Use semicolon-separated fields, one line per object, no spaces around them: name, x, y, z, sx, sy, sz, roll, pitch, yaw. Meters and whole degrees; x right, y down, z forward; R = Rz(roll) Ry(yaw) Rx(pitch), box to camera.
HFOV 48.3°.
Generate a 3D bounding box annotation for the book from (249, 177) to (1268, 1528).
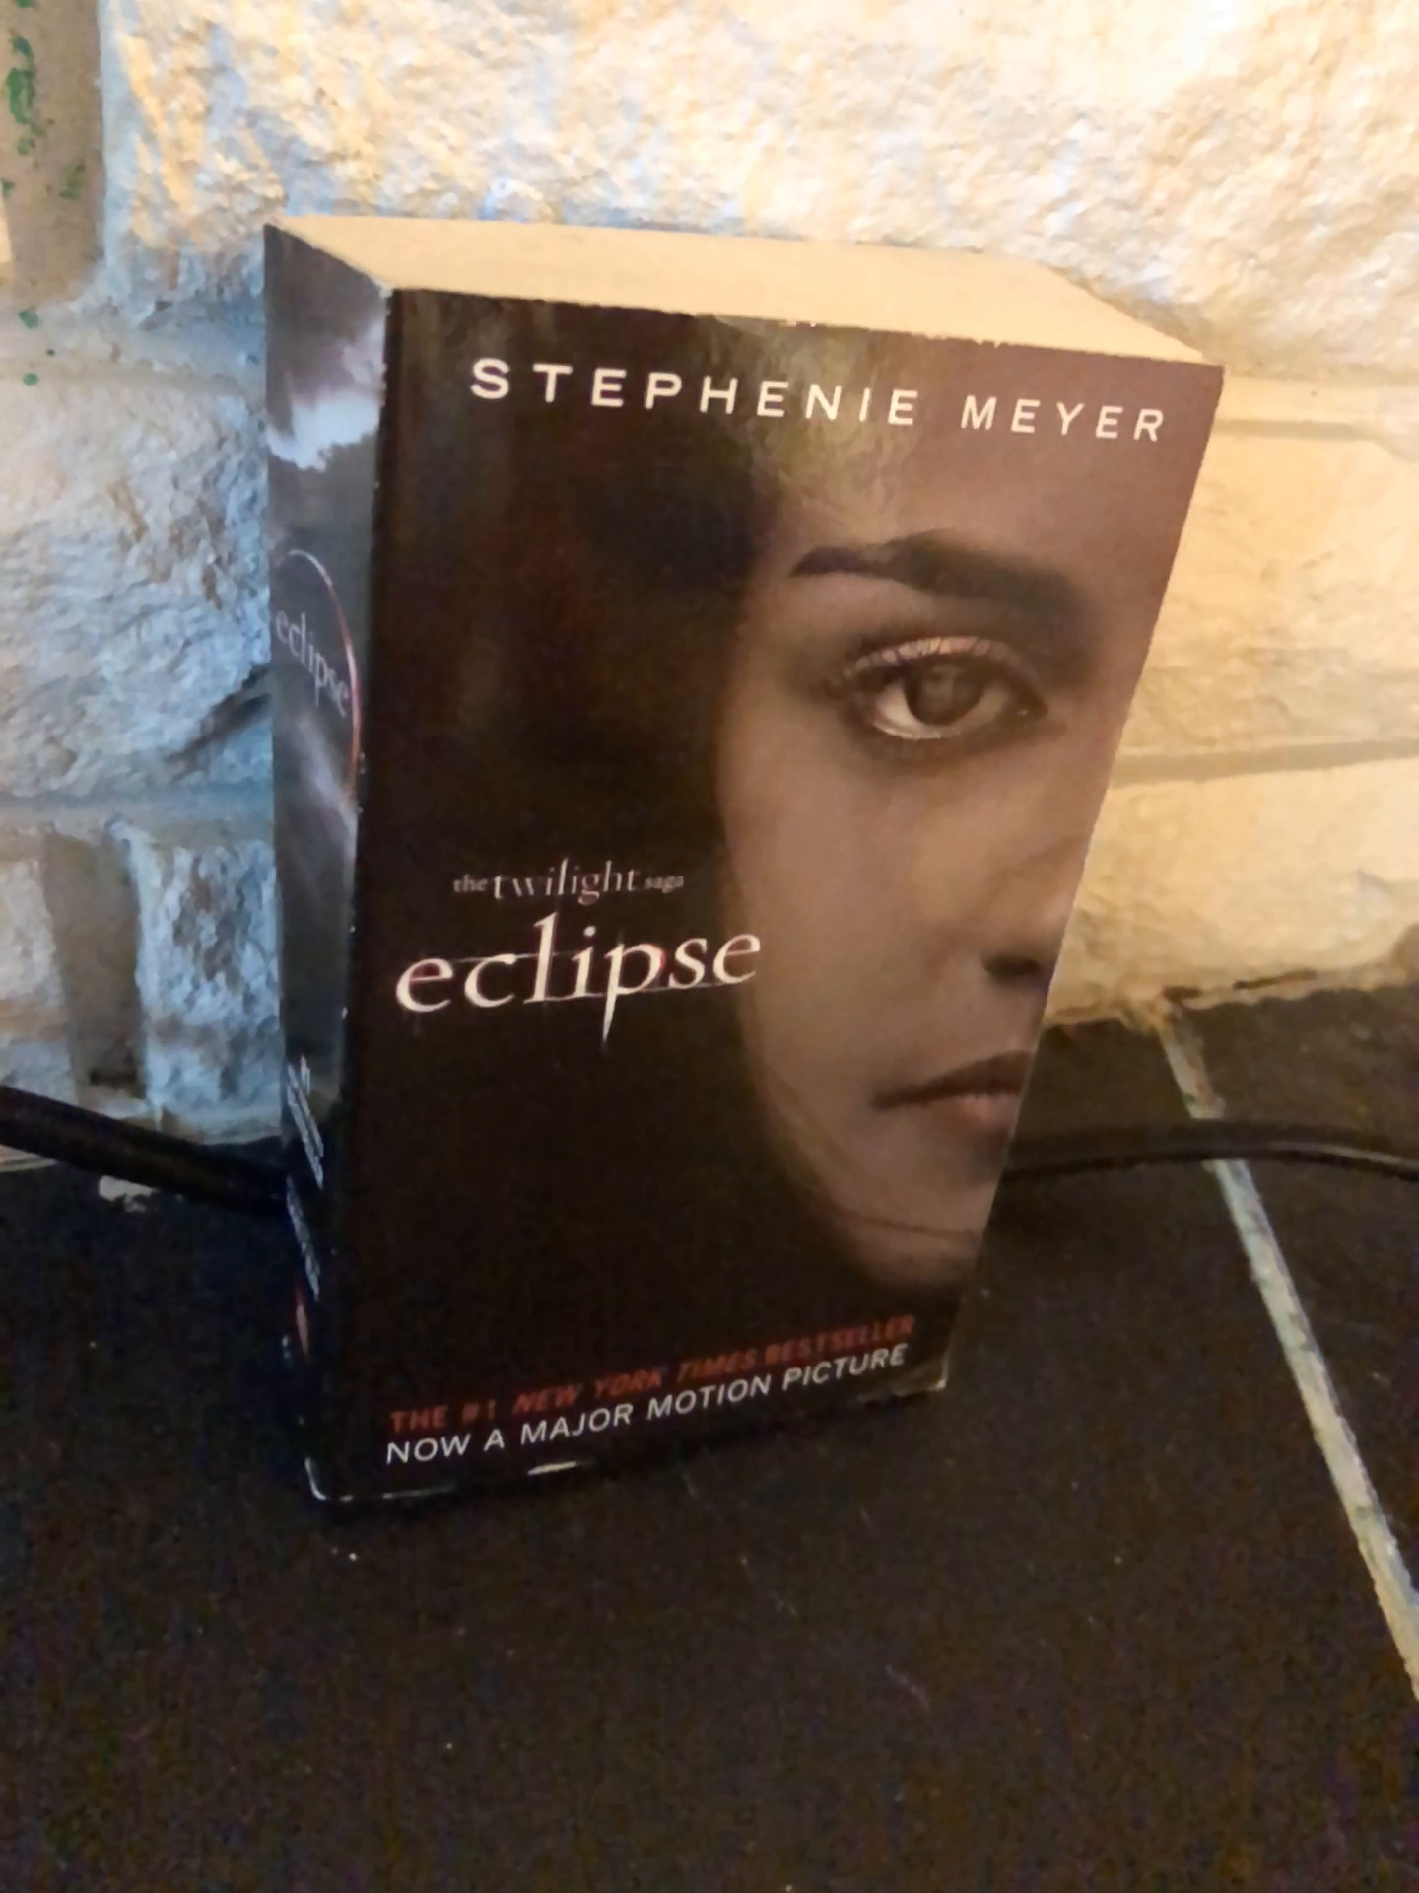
book;-0.007;-0.001;0.224;0.106;0.181;0.042;-3;36;-19
